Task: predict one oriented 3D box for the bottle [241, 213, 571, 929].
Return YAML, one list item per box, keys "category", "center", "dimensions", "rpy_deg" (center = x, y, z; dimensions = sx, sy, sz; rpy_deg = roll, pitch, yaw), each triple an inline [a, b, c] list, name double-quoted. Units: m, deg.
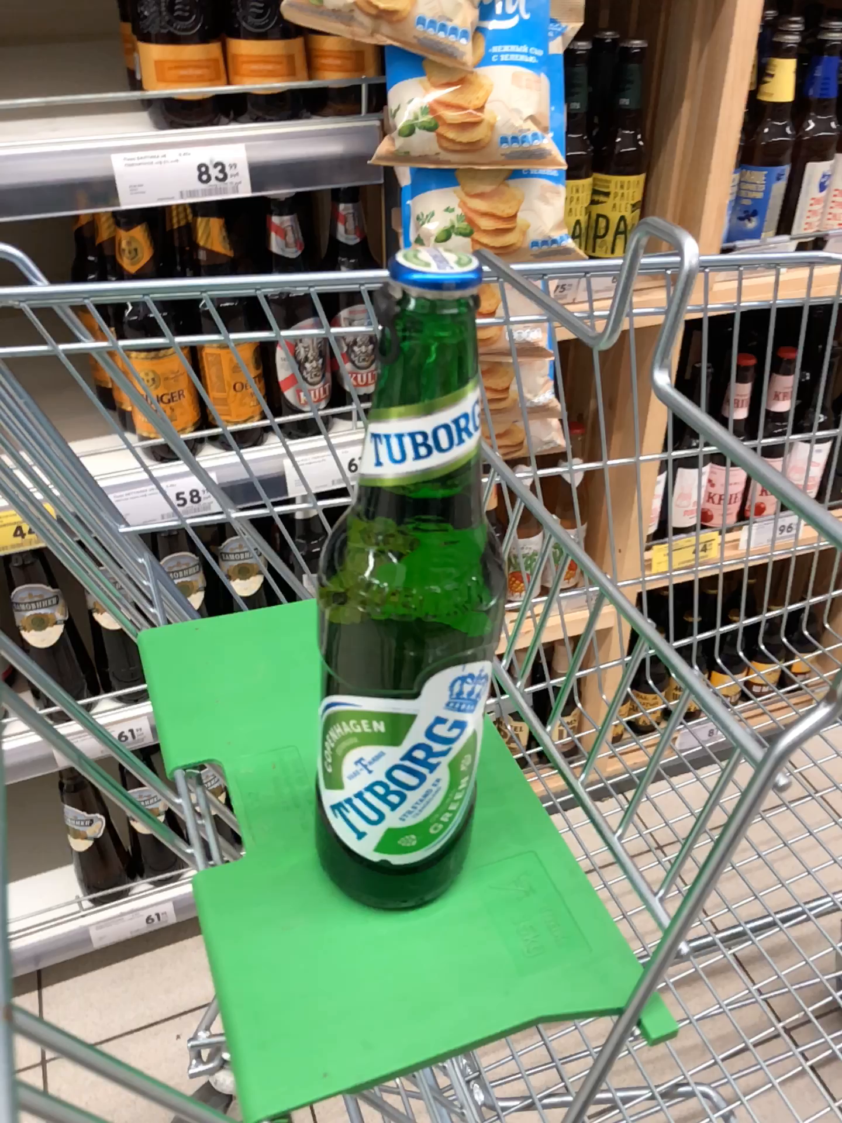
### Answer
- category: "bottle"
  center: [-0.005, 0.021, 0.328]
  dimensions: [0.080, 0.258, 0.070]
  rpy_deg: [3, 36, 2]
